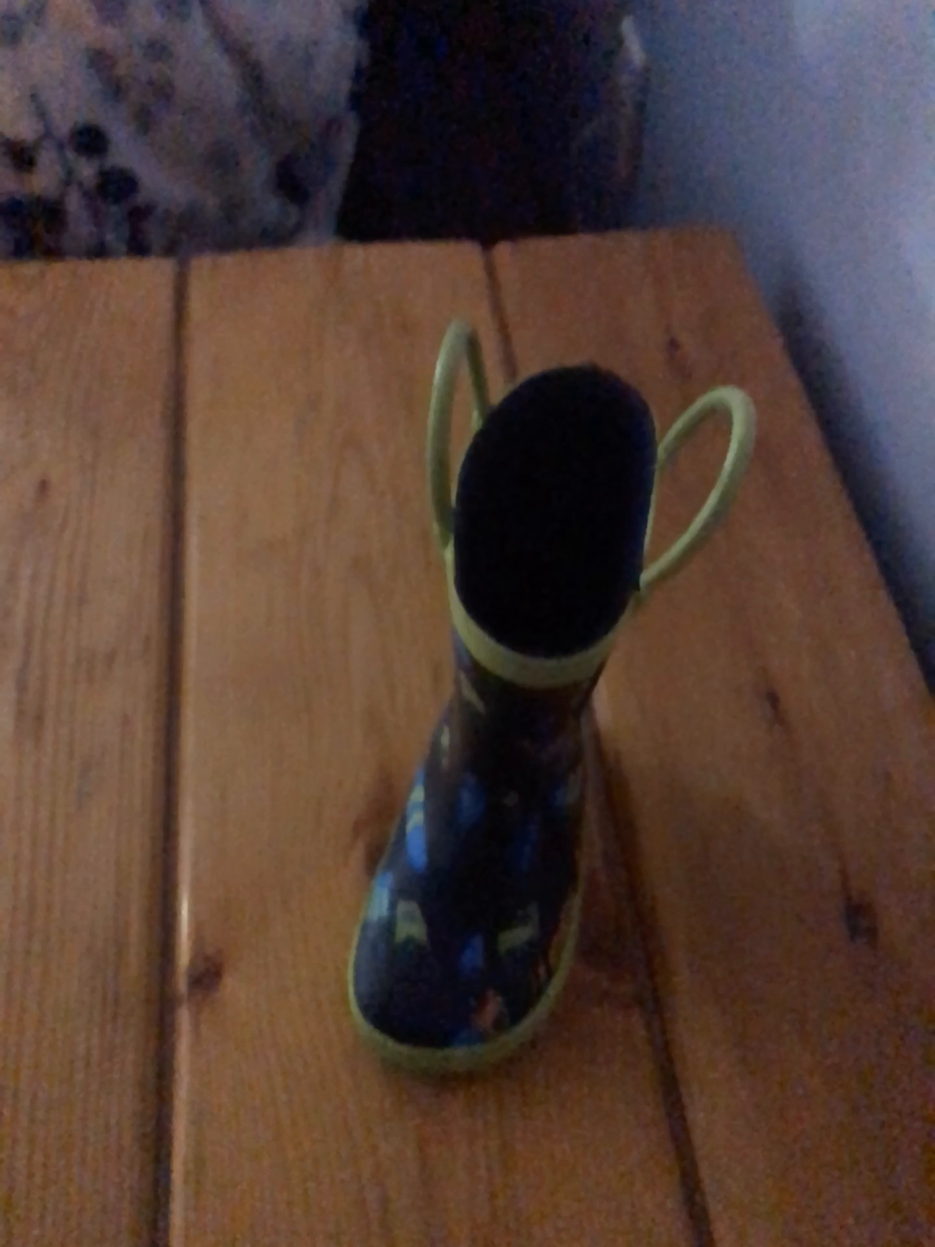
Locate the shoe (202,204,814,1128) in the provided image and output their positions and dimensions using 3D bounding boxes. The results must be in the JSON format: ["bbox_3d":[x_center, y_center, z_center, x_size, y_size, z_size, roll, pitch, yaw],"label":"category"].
[{"bbox_3d":[0.017,0.026,0.300,0.080,0.200,0.170,16,57,9],"label":"shoe"}]
